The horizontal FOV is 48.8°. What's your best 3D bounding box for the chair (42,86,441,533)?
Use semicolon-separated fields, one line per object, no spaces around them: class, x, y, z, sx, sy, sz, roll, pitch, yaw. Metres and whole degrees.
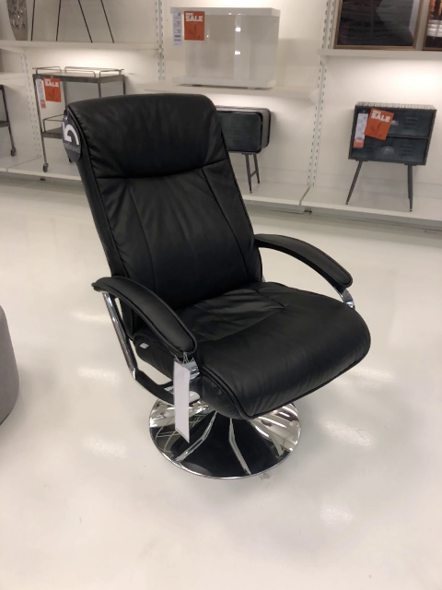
chair;0.011;-0.075;1.525;0.732;0.992;0.804;-18;33;-33
